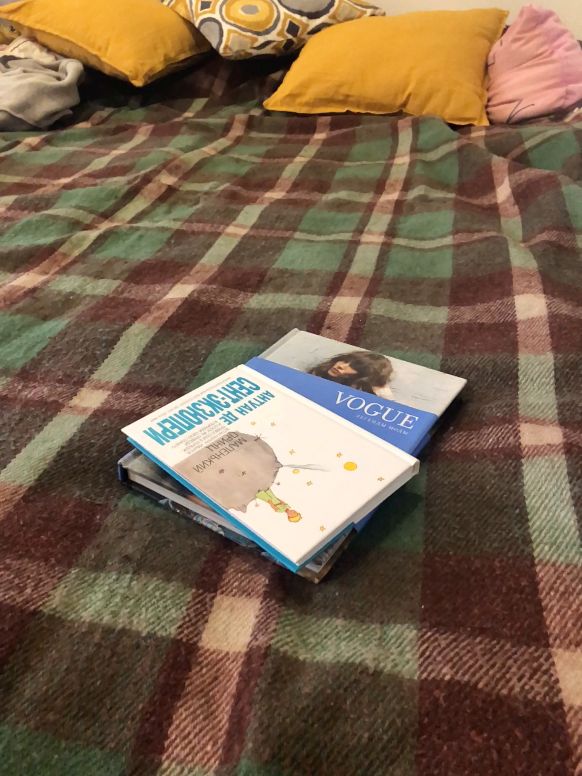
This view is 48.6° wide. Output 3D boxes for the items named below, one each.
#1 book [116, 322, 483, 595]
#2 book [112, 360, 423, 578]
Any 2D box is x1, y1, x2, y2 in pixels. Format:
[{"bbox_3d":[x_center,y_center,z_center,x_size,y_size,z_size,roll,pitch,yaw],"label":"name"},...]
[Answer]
[{"bbox_3d":[0.018,0.029,0.493,0.174,0.023,0.241,20,38,28],"label":"book"},{"bbox_3d":[-0.019,0.040,0.426,0.170,0.014,0.120,28,42,36],"label":"book"}]
